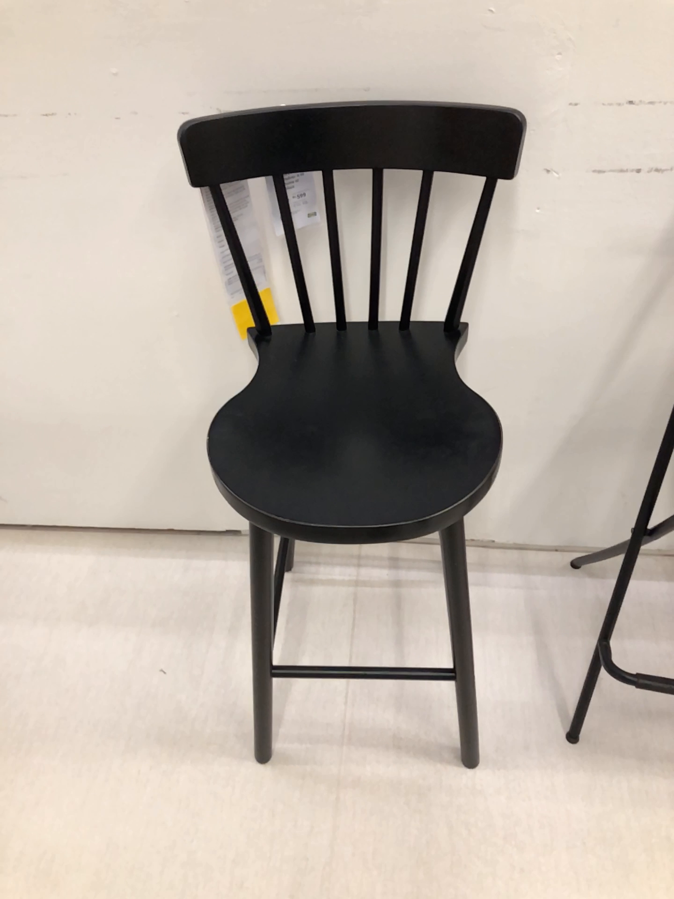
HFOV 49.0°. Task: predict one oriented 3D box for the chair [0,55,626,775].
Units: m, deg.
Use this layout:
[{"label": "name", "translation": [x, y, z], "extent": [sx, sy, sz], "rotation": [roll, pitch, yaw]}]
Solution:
[{"label": "chair", "translation": [0.007, 0.022, 1.015], "extent": [0.460, 0.874, 0.483], "rotation": [-1, 45, 4]}]
